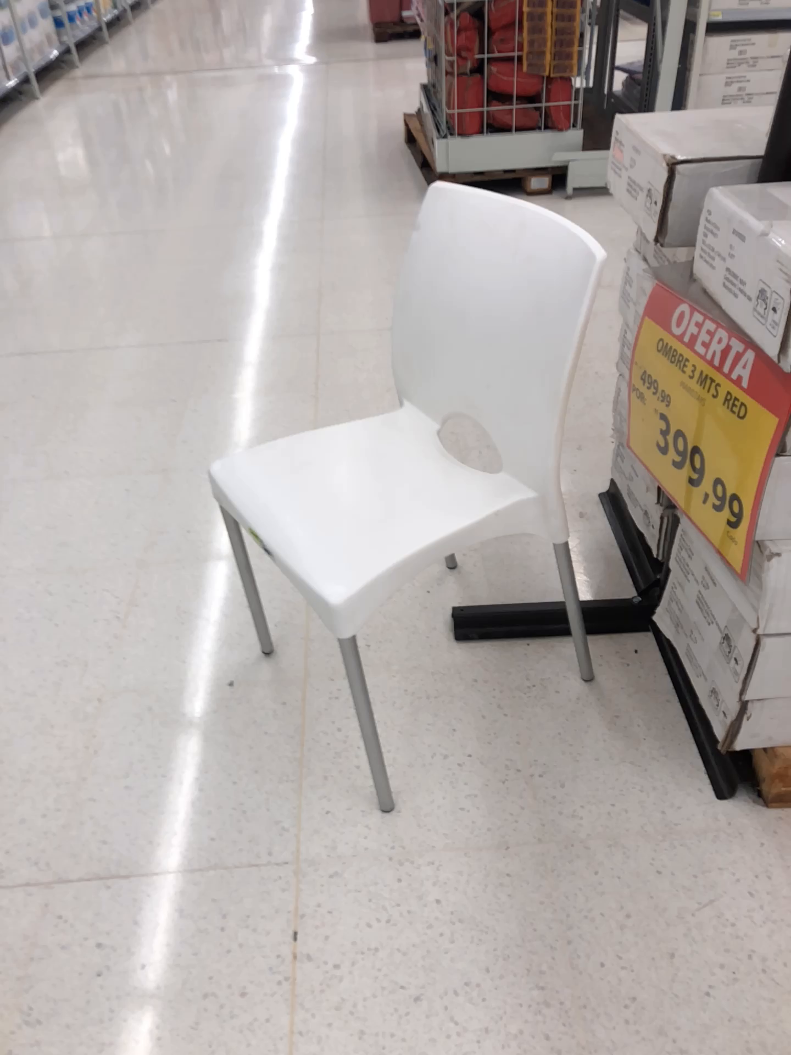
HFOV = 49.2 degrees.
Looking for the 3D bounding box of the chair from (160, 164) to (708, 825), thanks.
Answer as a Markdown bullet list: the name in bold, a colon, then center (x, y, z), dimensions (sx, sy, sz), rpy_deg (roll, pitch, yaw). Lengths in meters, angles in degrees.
- **chair**: center (0.053, -0.072, 1.408), dimensions (0.561, 0.794, 0.502), rpy_deg (-22, 40, -23)
